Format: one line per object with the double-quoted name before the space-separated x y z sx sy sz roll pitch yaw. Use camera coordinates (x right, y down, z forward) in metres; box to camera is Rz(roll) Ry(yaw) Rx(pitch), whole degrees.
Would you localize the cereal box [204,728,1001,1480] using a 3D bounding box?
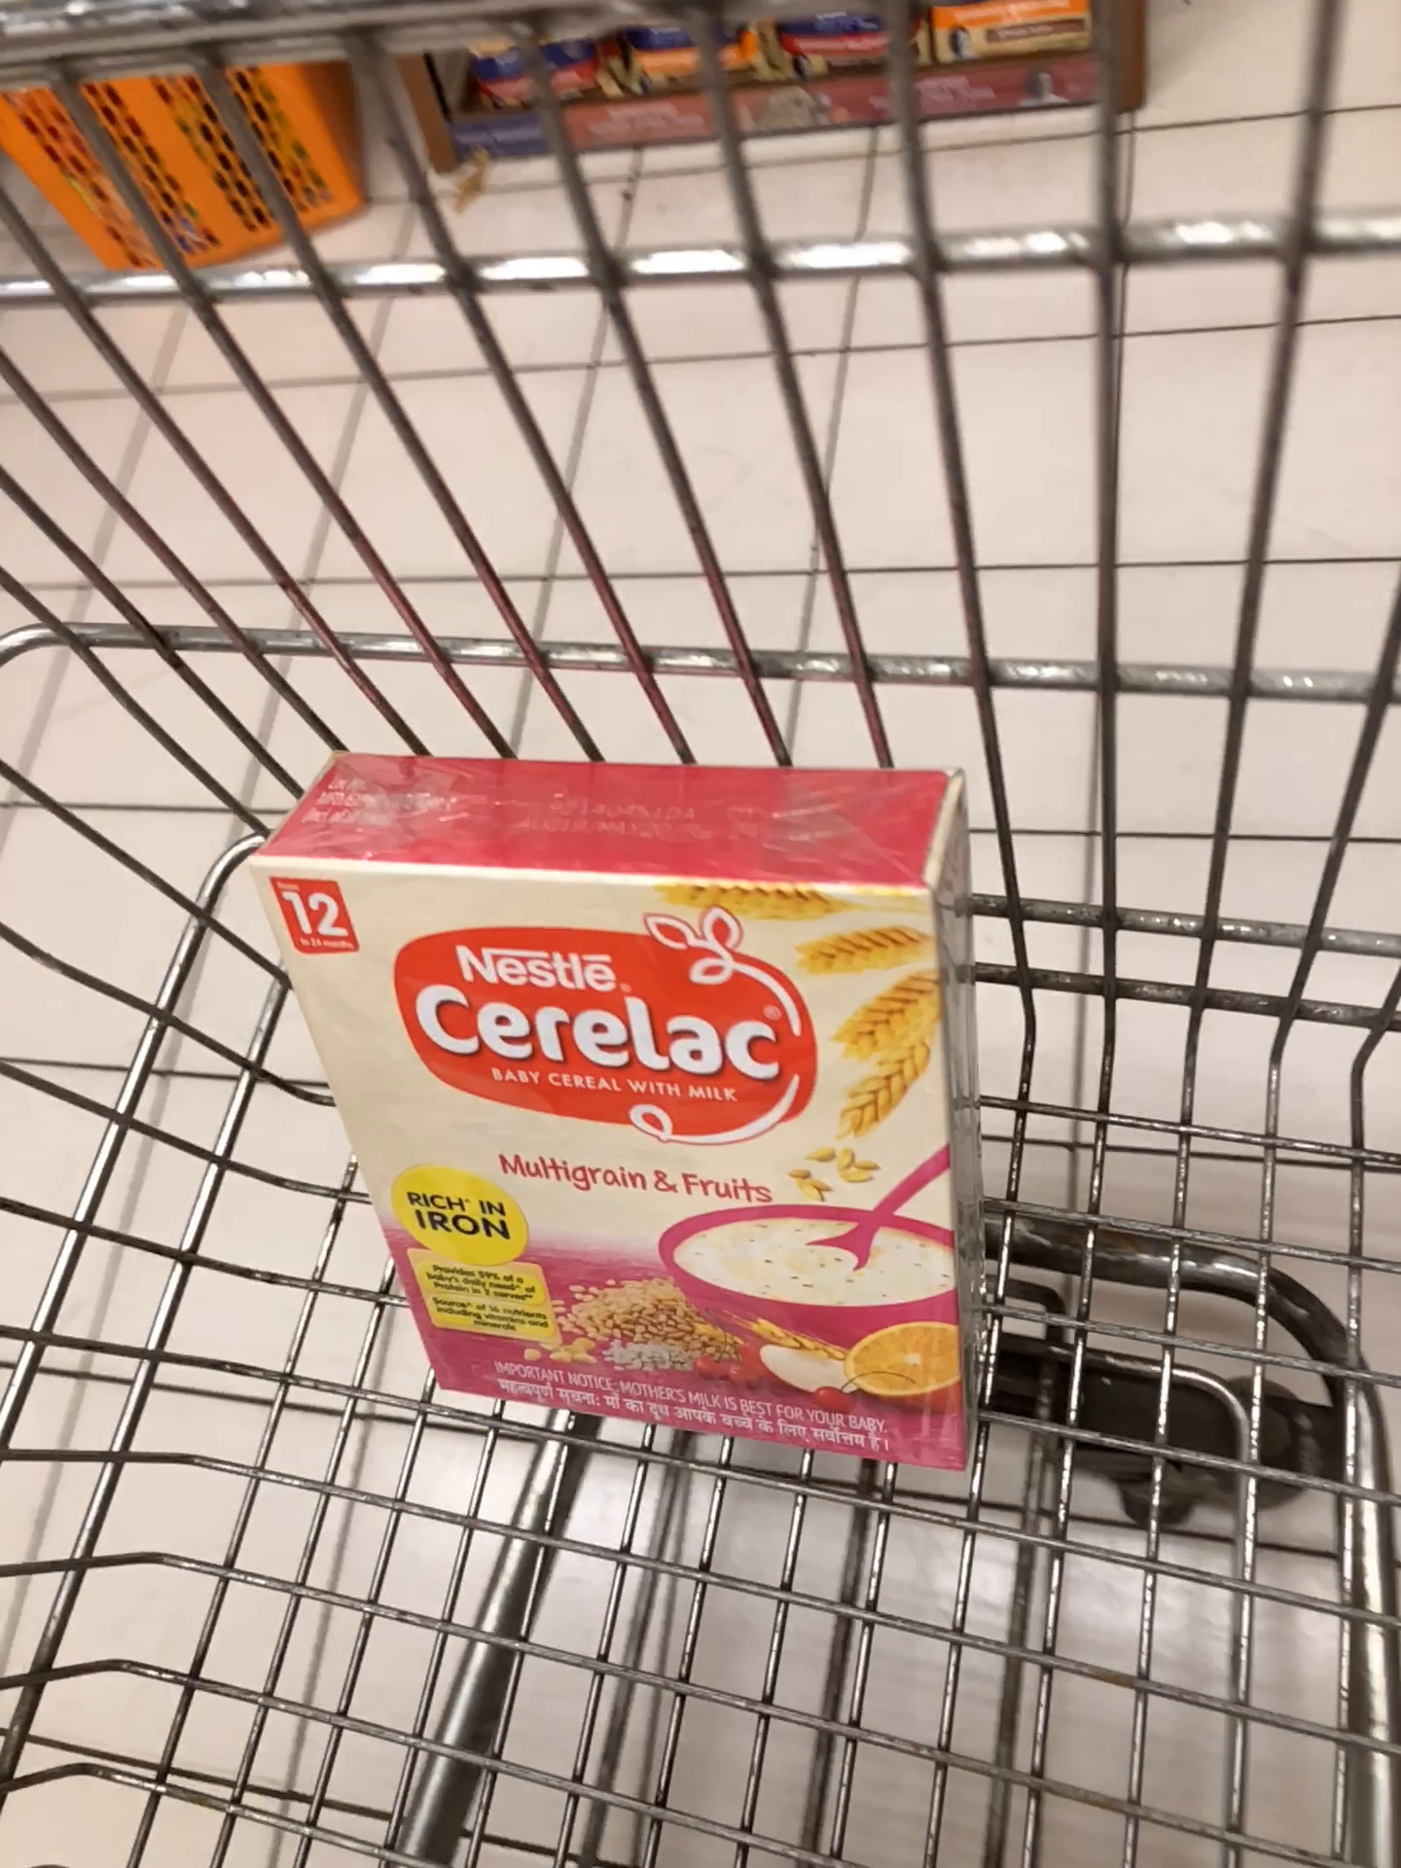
"cereal box" -0.010 0.046 0.382 0.160 0.189 0.050 4 39 16
